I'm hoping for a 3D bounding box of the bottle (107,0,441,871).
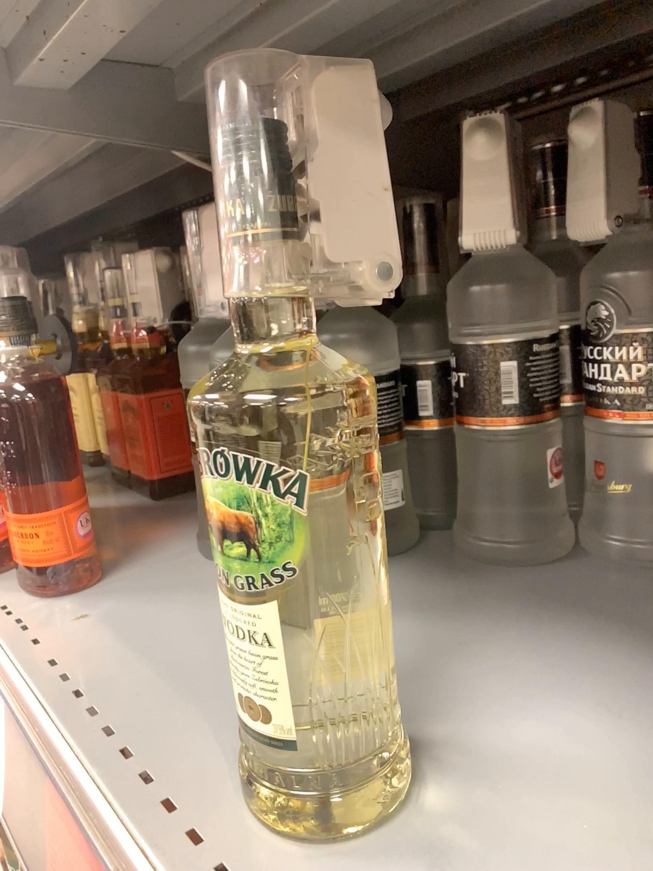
[{"bbox_3d":[-0.017,0.004,0.270,0.069,0.303,0.076,-14,13,-38],"label":"bottle"}]
